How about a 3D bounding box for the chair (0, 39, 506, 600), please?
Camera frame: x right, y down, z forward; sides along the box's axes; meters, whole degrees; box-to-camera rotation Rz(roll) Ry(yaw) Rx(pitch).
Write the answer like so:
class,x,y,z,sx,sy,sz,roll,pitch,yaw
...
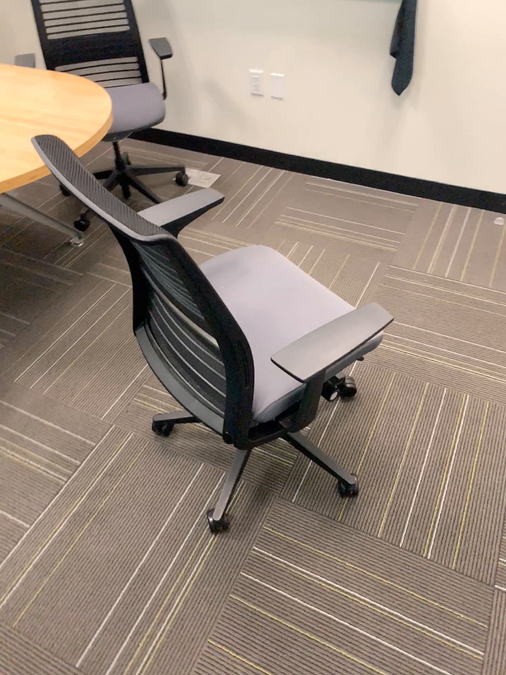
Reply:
class,x,y,z,sx,sy,sz,roll,pitch,yaw
chair,-0.014,-0.029,1.259,0.691,0.994,0.653,-28,51,-23
